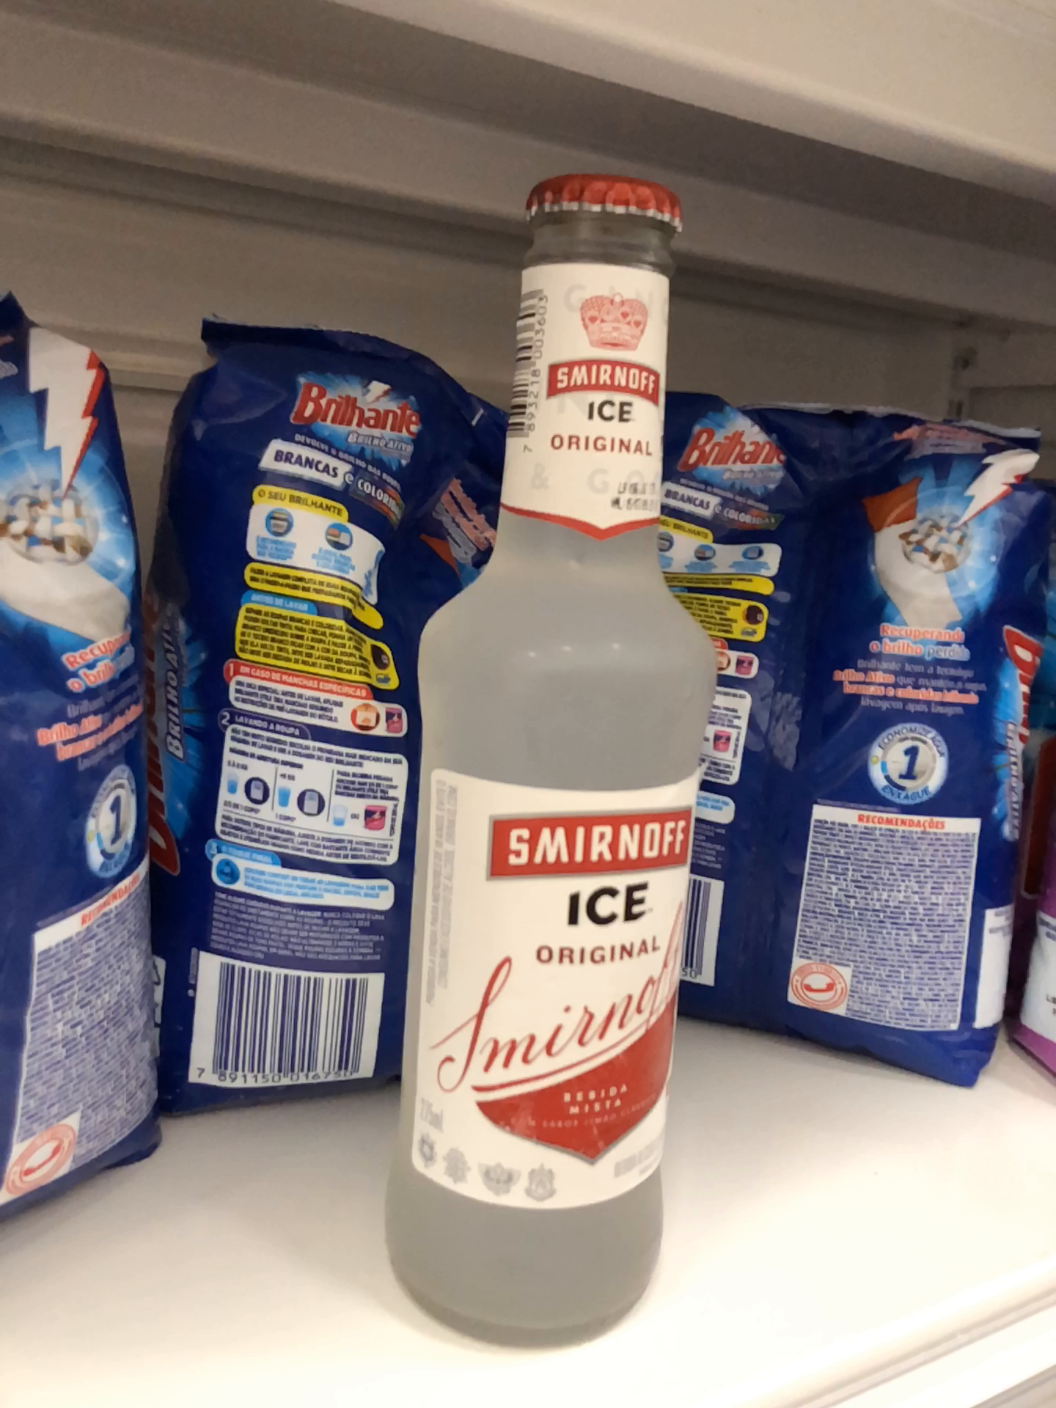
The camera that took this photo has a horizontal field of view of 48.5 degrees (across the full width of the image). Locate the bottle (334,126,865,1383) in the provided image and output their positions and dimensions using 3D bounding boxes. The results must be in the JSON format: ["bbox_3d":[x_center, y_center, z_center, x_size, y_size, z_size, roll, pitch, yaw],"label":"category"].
[{"bbox_3d":[0.007,0.011,0.230,0.070,0.209,0.060,0,11,-21],"label":"bottle"}]
